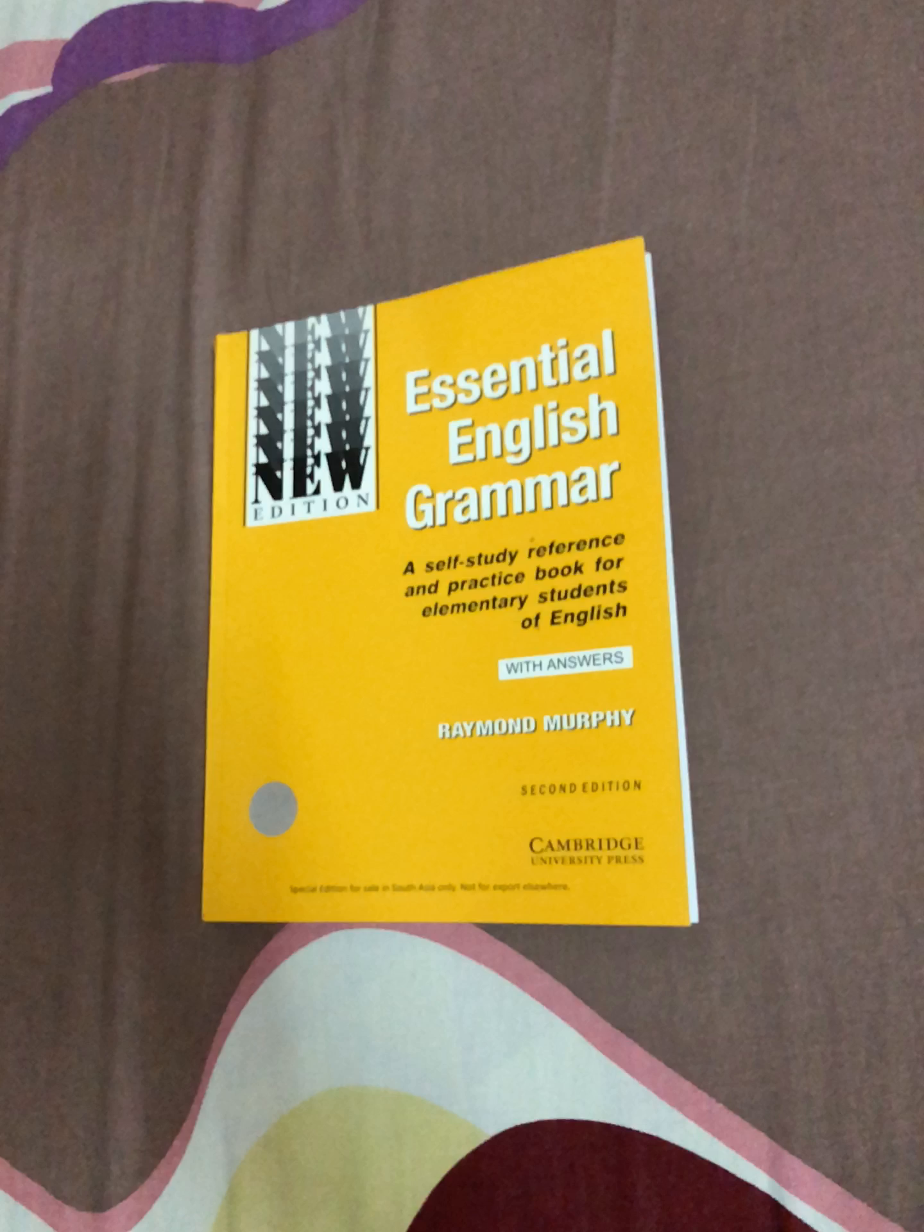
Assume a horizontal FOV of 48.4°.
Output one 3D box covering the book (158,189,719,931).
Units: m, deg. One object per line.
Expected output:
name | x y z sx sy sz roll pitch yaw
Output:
book | -0.013 -0.016 0.382 0.190 0.040 0.250 -6 75 19
